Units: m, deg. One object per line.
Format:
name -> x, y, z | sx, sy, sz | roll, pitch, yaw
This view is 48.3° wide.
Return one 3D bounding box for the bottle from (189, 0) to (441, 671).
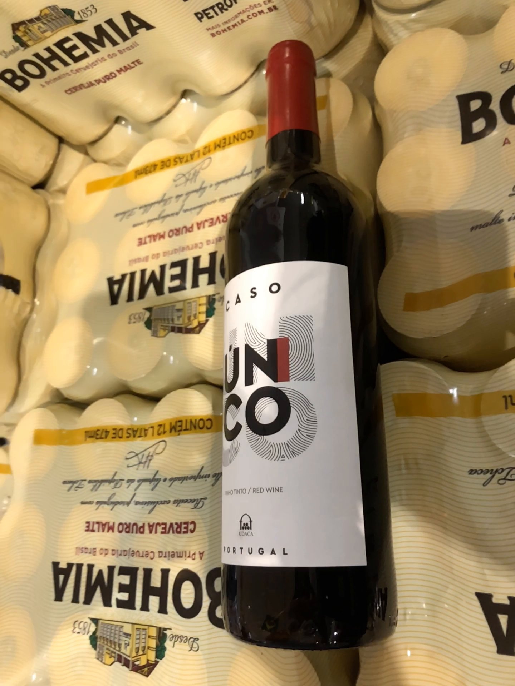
bottle -> 0.022, -0.037, 0.283 | 0.080, 0.070, 0.330 | -11, 70, 30
